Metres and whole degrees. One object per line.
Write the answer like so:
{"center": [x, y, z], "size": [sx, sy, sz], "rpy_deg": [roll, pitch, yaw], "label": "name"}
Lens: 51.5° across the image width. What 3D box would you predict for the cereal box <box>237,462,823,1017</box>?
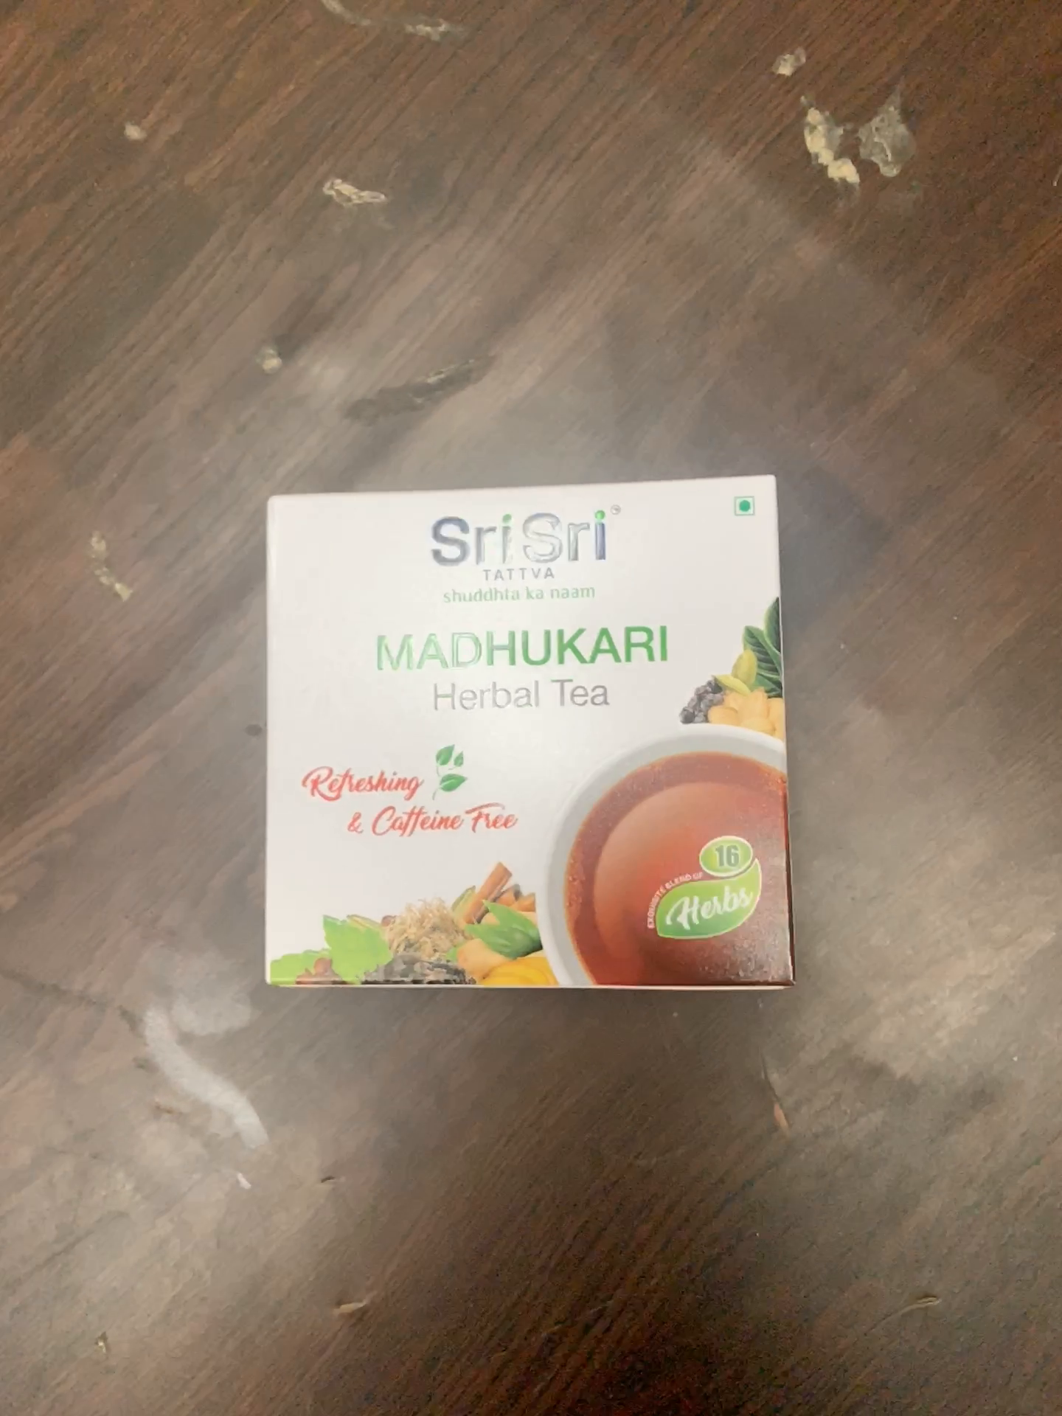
{"center": [-0.001, 0.008, 0.266], "size": [0.130, 0.040, 0.120], "rpy_deg": [-1, 87, 7], "label": "cereal box"}
